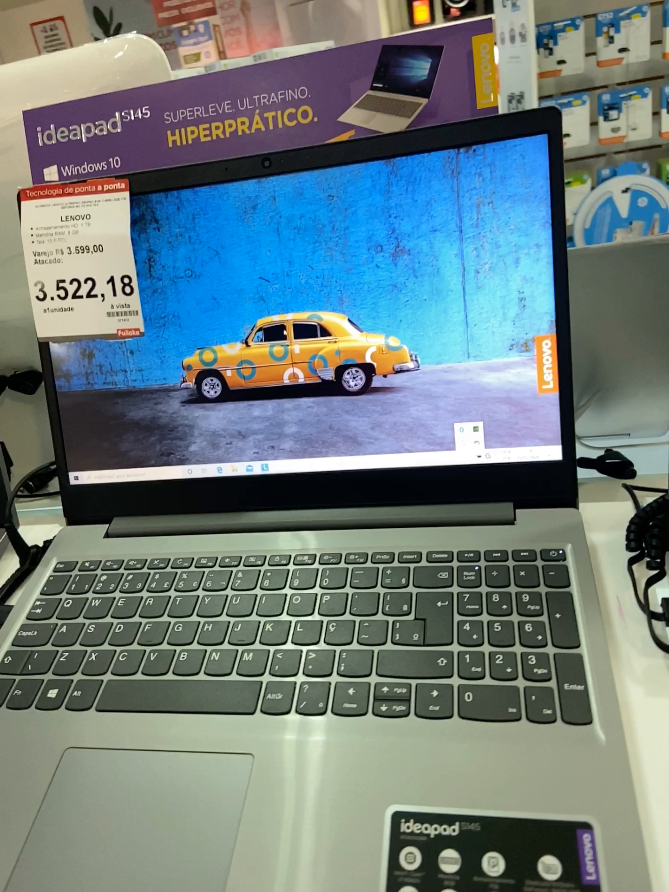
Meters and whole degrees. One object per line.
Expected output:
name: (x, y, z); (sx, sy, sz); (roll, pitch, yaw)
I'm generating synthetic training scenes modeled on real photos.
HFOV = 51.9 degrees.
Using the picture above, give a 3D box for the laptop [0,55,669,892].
laptop: (-0.051, -0.010, 0.355); (0.346, 0.209, 0.366); (-4, 36, 14)
